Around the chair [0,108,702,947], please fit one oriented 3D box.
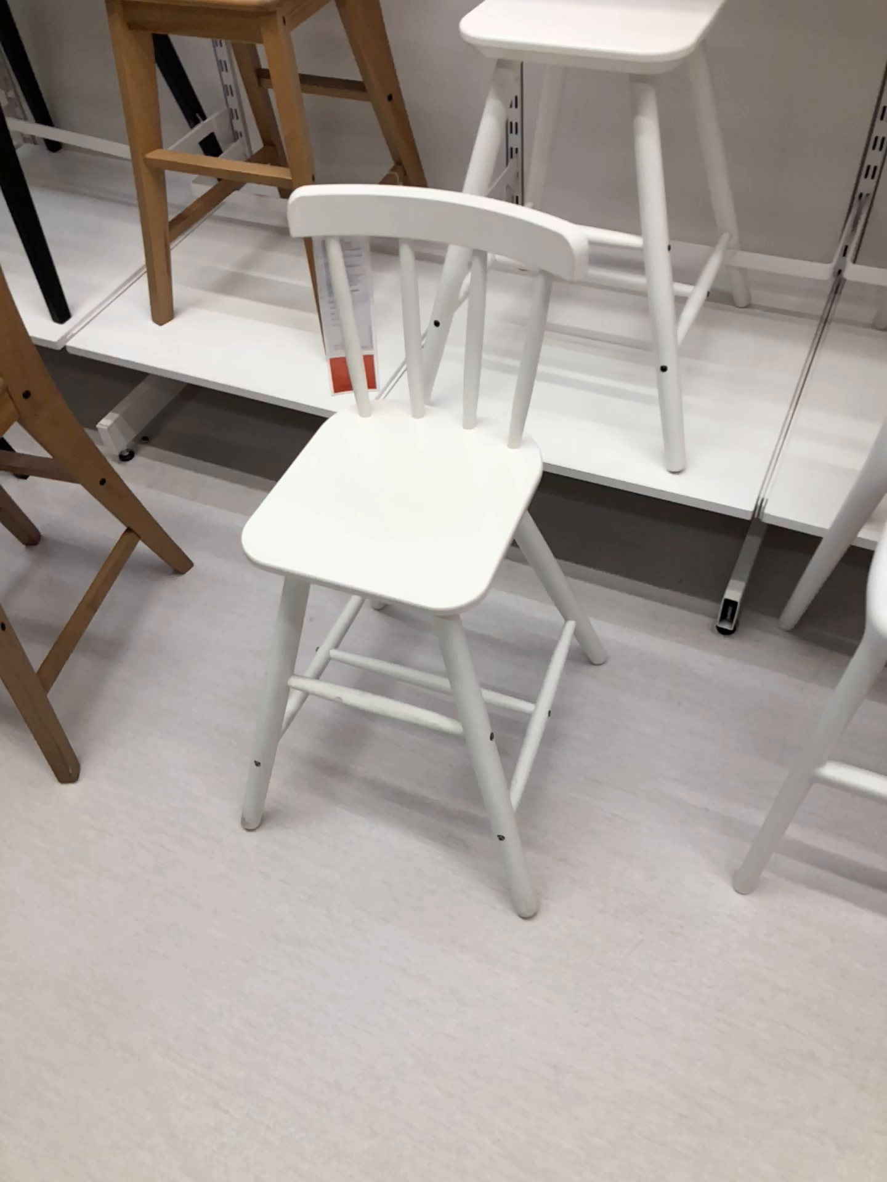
[{"bbox_3d":[-0.030,-0.039,1.154,0.470,0.795,0.503,14,52,16],"label":"chair"}]
